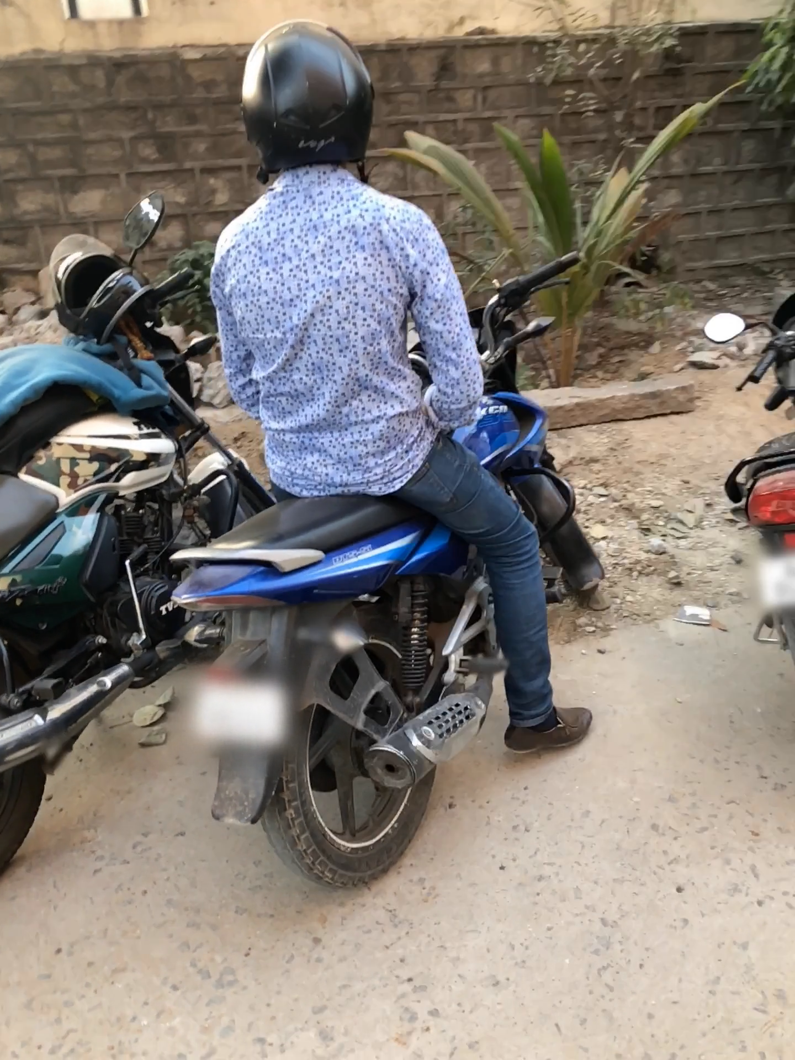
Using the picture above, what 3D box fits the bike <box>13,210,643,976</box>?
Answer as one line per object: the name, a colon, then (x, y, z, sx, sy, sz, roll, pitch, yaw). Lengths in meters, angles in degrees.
bike: (0.047, -0.080, 2.160, 0.754, 1.076, 1.583, 8, 31, 23)
